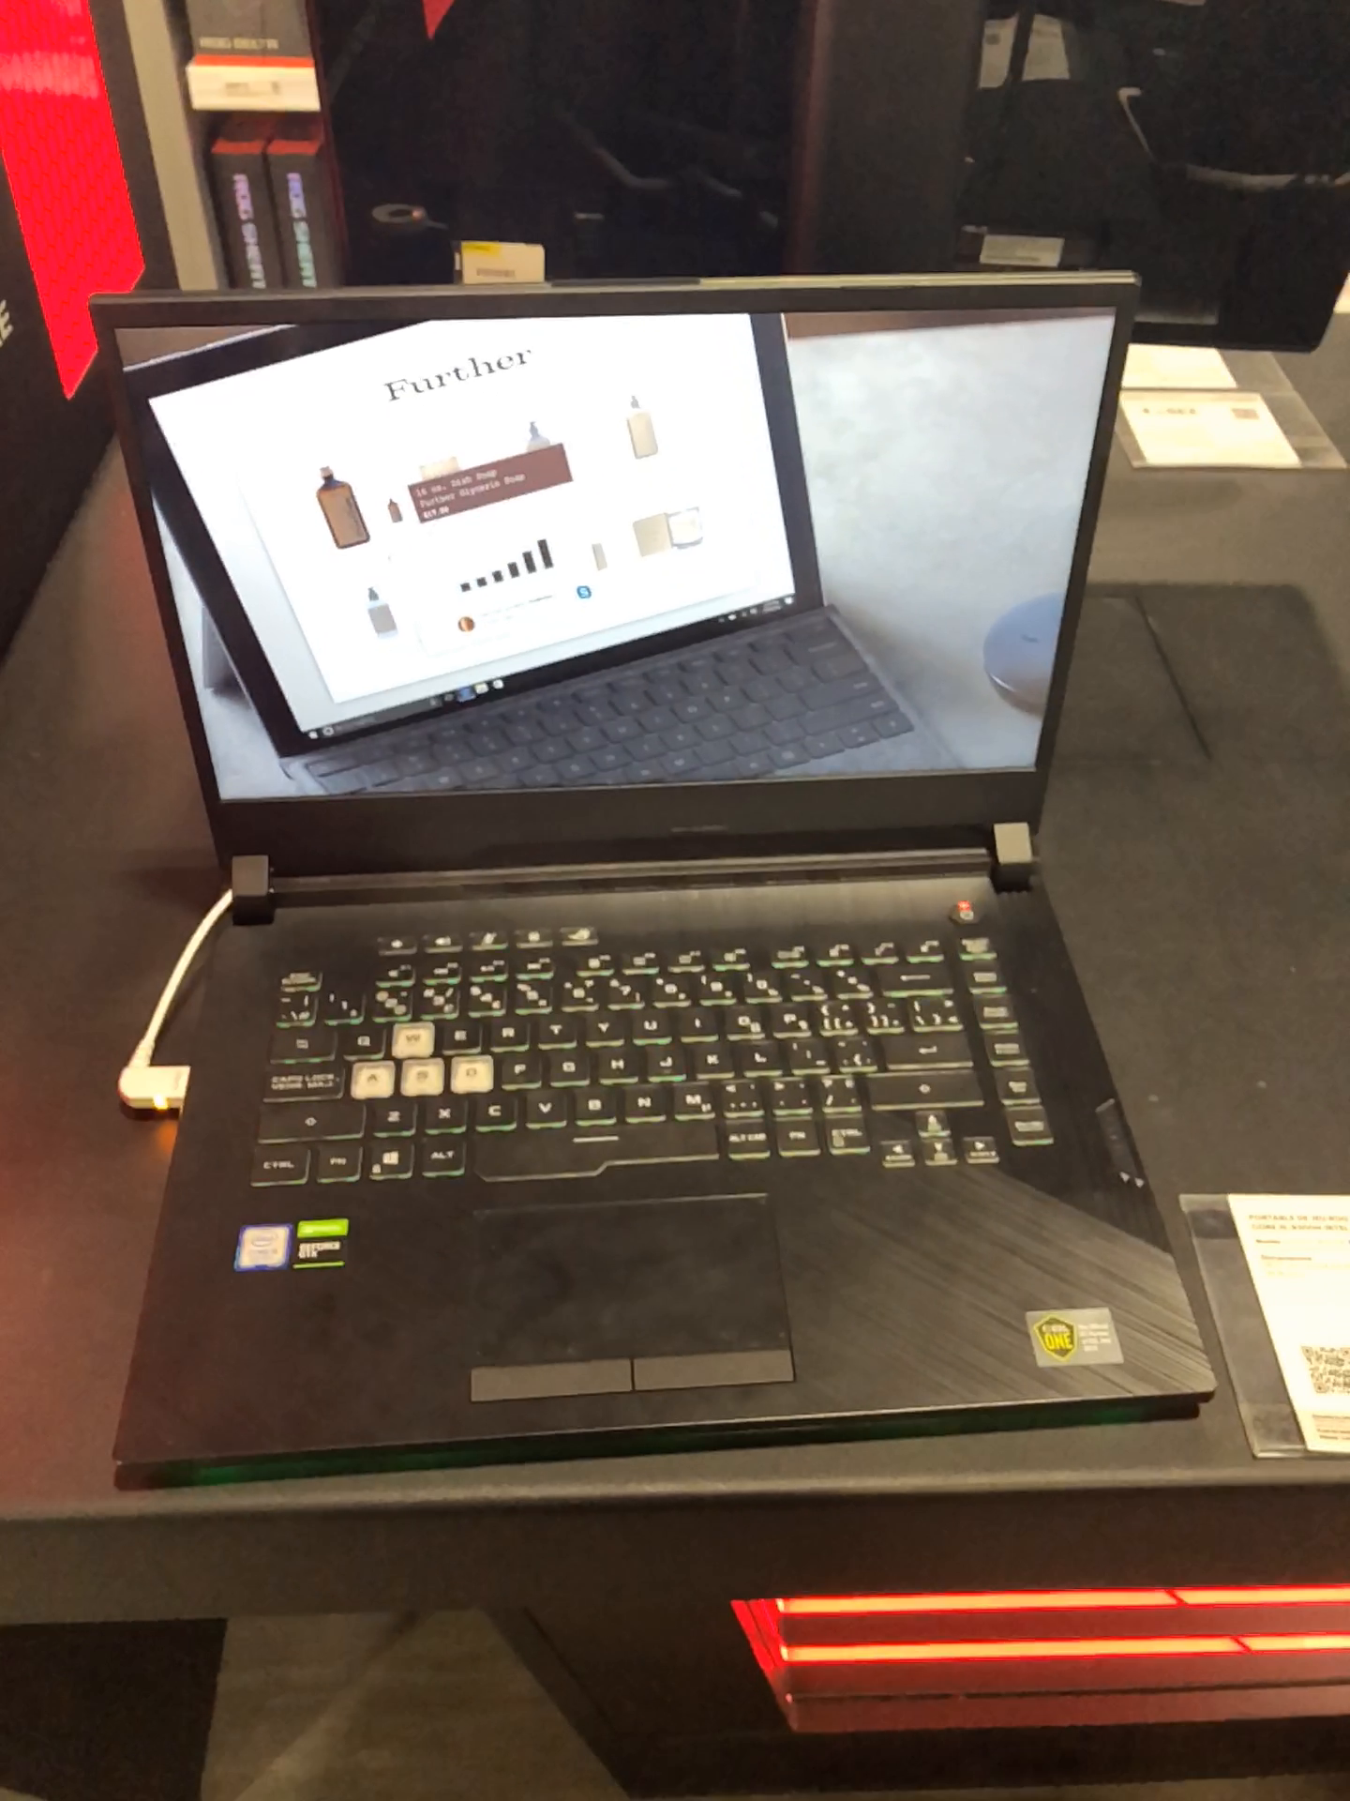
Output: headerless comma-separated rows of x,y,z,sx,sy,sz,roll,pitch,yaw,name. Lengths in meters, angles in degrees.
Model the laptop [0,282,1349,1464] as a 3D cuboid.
-0.007,-0.015,0.502,0.360,0.268,0.276,-2,45,-4,laptop
